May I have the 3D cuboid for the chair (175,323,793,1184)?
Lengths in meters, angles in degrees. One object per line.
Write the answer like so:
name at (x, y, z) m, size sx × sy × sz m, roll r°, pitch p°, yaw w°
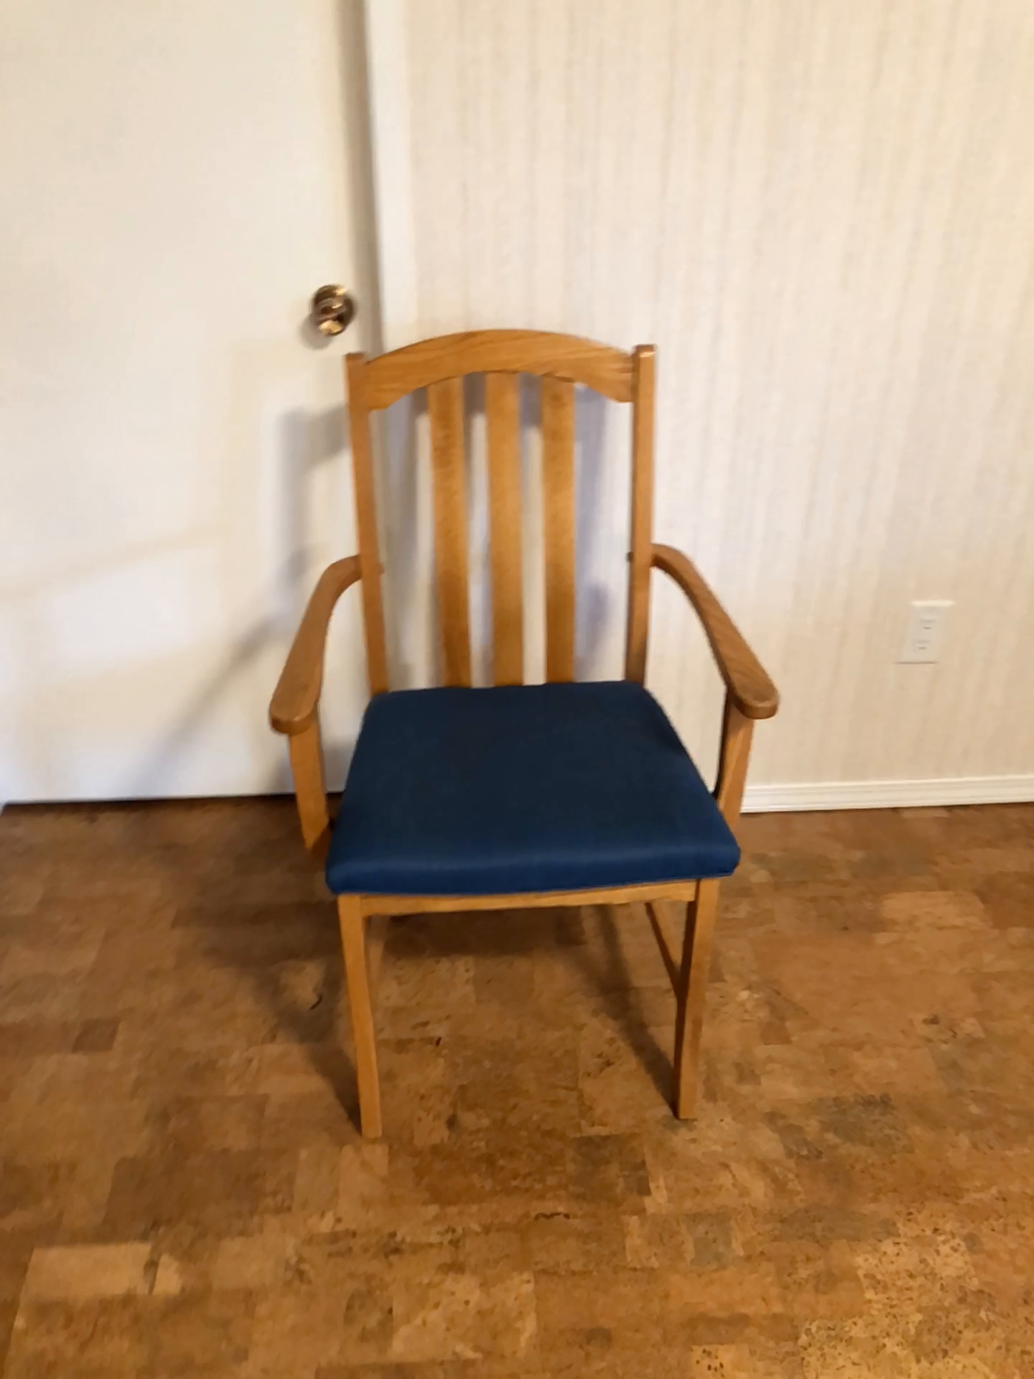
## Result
chair at (-0.057, 0.074, 1.507) m, size 0.550 × 0.937 × 0.592 m, roll -3°, pitch 32°, yaw -6°
